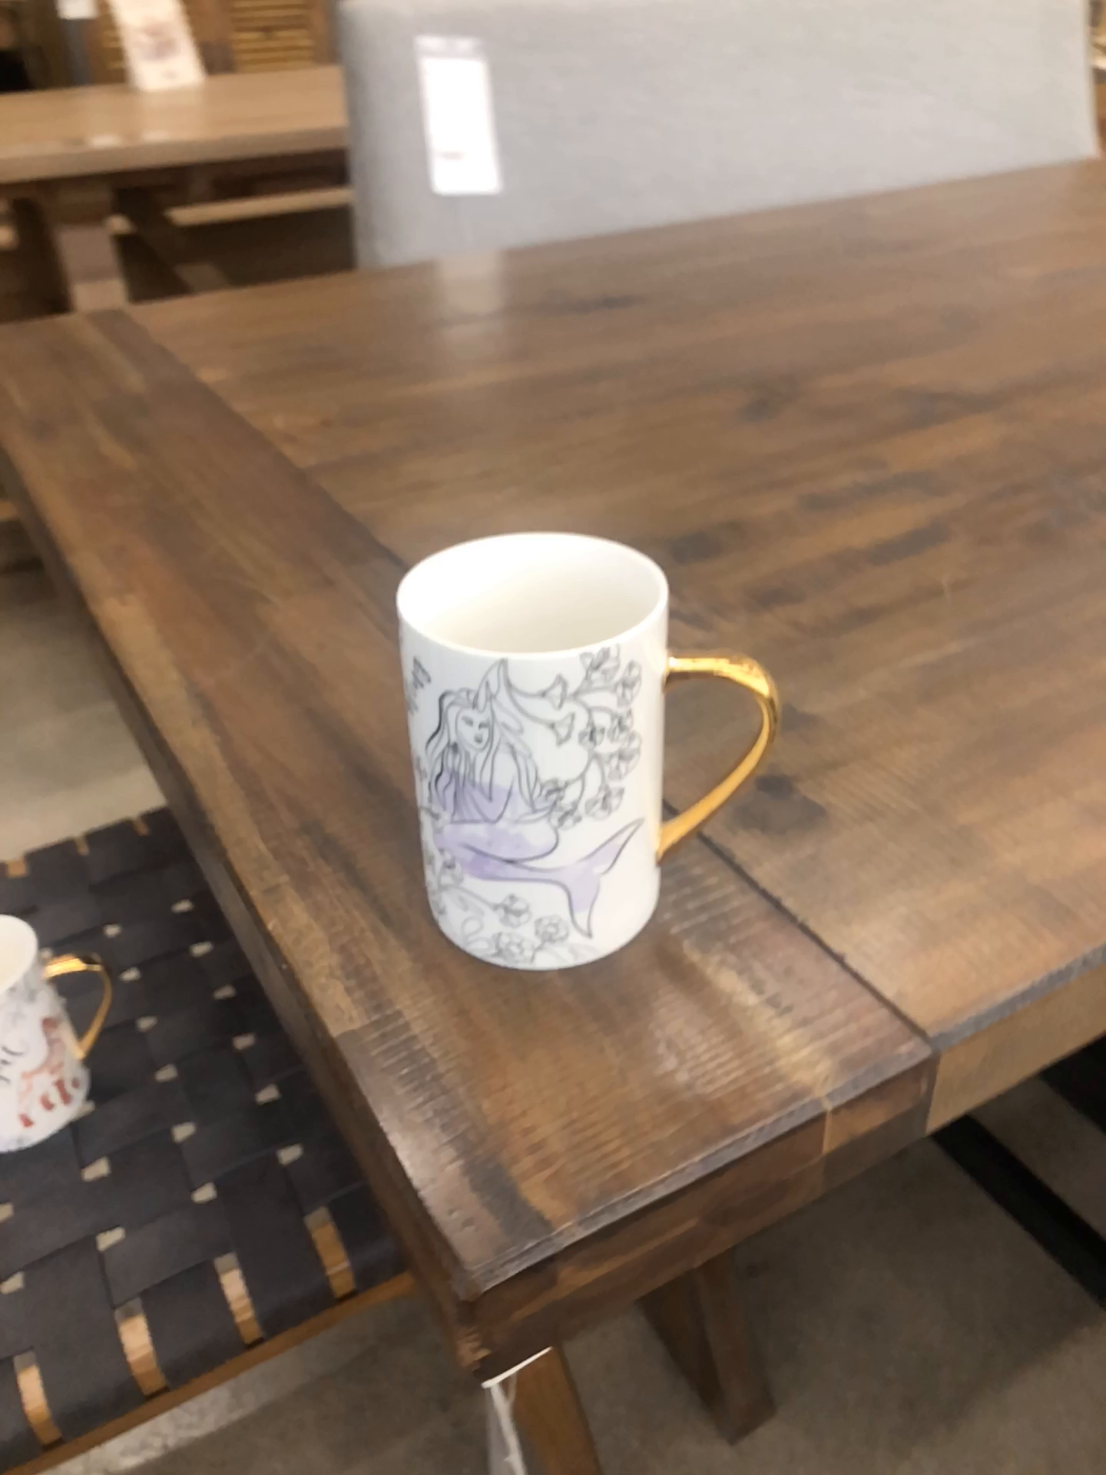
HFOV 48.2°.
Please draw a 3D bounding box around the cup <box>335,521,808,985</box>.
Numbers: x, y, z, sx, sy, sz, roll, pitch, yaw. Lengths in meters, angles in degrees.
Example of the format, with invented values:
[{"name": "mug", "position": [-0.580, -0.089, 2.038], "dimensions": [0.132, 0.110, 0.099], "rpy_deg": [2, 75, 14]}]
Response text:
[{"name": "cup", "position": [0.010, 0.003, 0.380], "dimensions": [0.121, 0.111, 0.083], "rpy_deg": [2, 33, 6]}]
